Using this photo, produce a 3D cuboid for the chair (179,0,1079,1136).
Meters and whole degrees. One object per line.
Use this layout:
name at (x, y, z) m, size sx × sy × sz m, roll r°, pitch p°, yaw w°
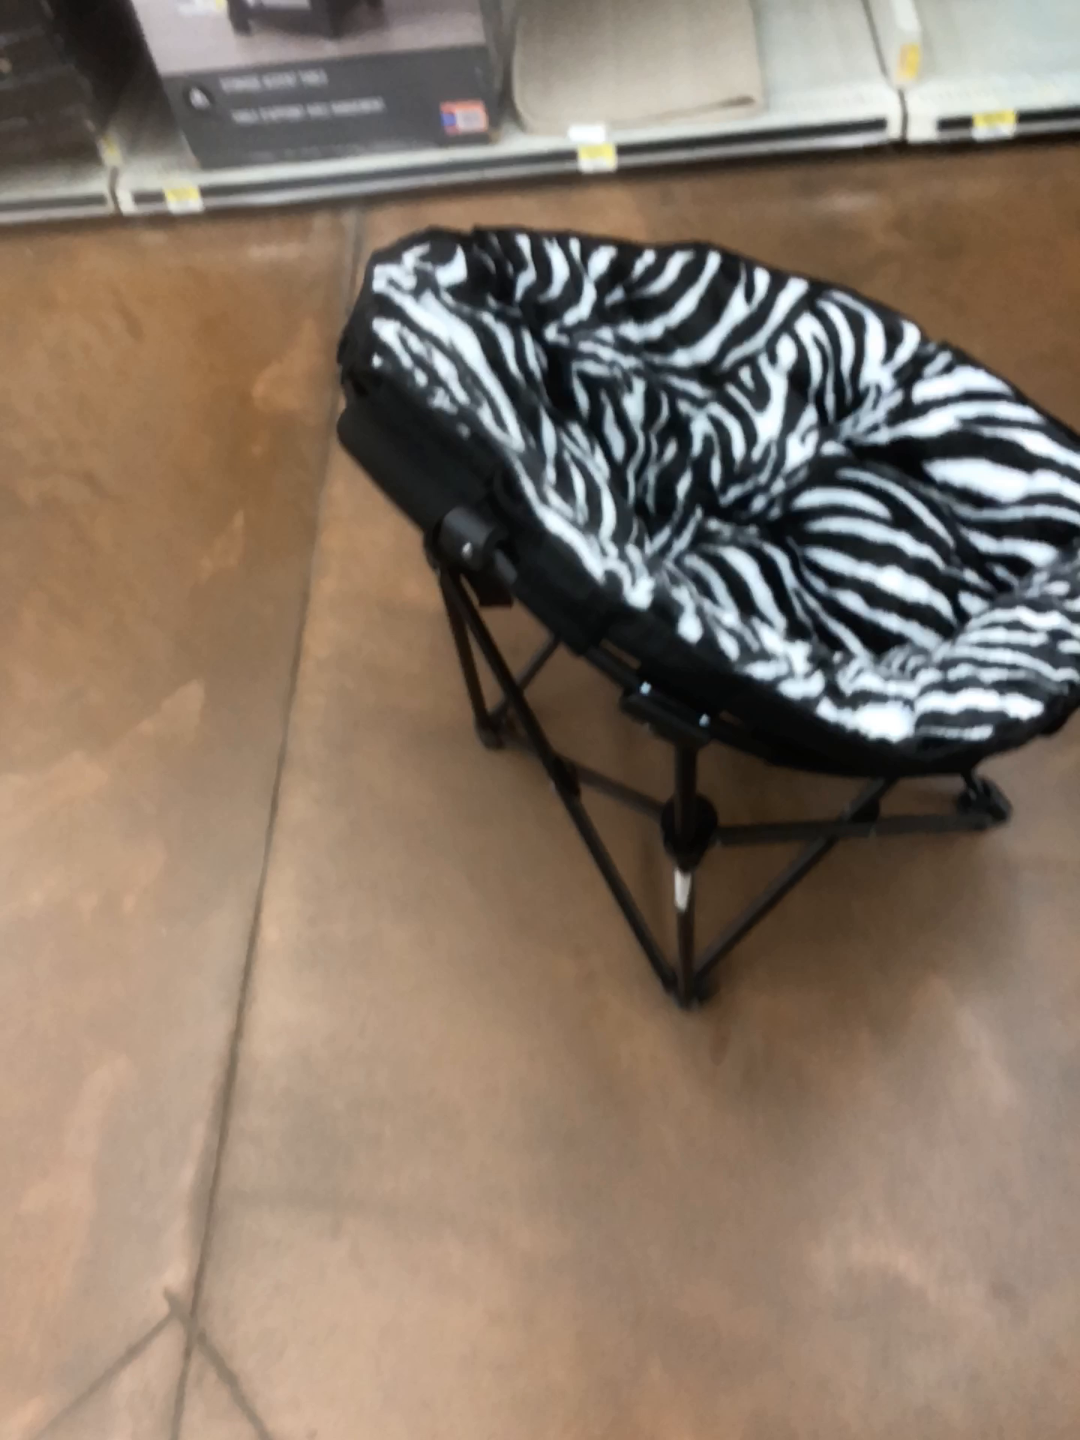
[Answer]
chair at (0.191, -0.156, 1.025) m, size 0.600 × 0.599 × 0.611 m, roll -32°, pitch 59°, yaw -13°
